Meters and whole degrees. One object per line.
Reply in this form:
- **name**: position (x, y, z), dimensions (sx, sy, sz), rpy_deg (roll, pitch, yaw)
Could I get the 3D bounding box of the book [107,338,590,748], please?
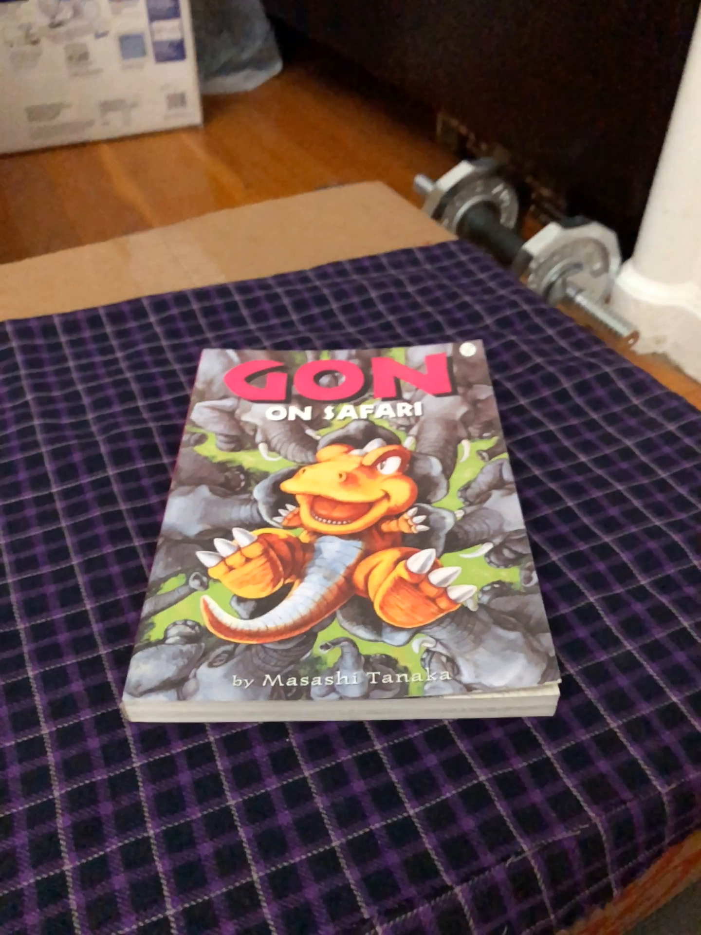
- **book**: position (-0.001, 0.013, 0.327), dimensions (0.150, 0.020, 0.211), rpy_deg (0, 43, 0)
